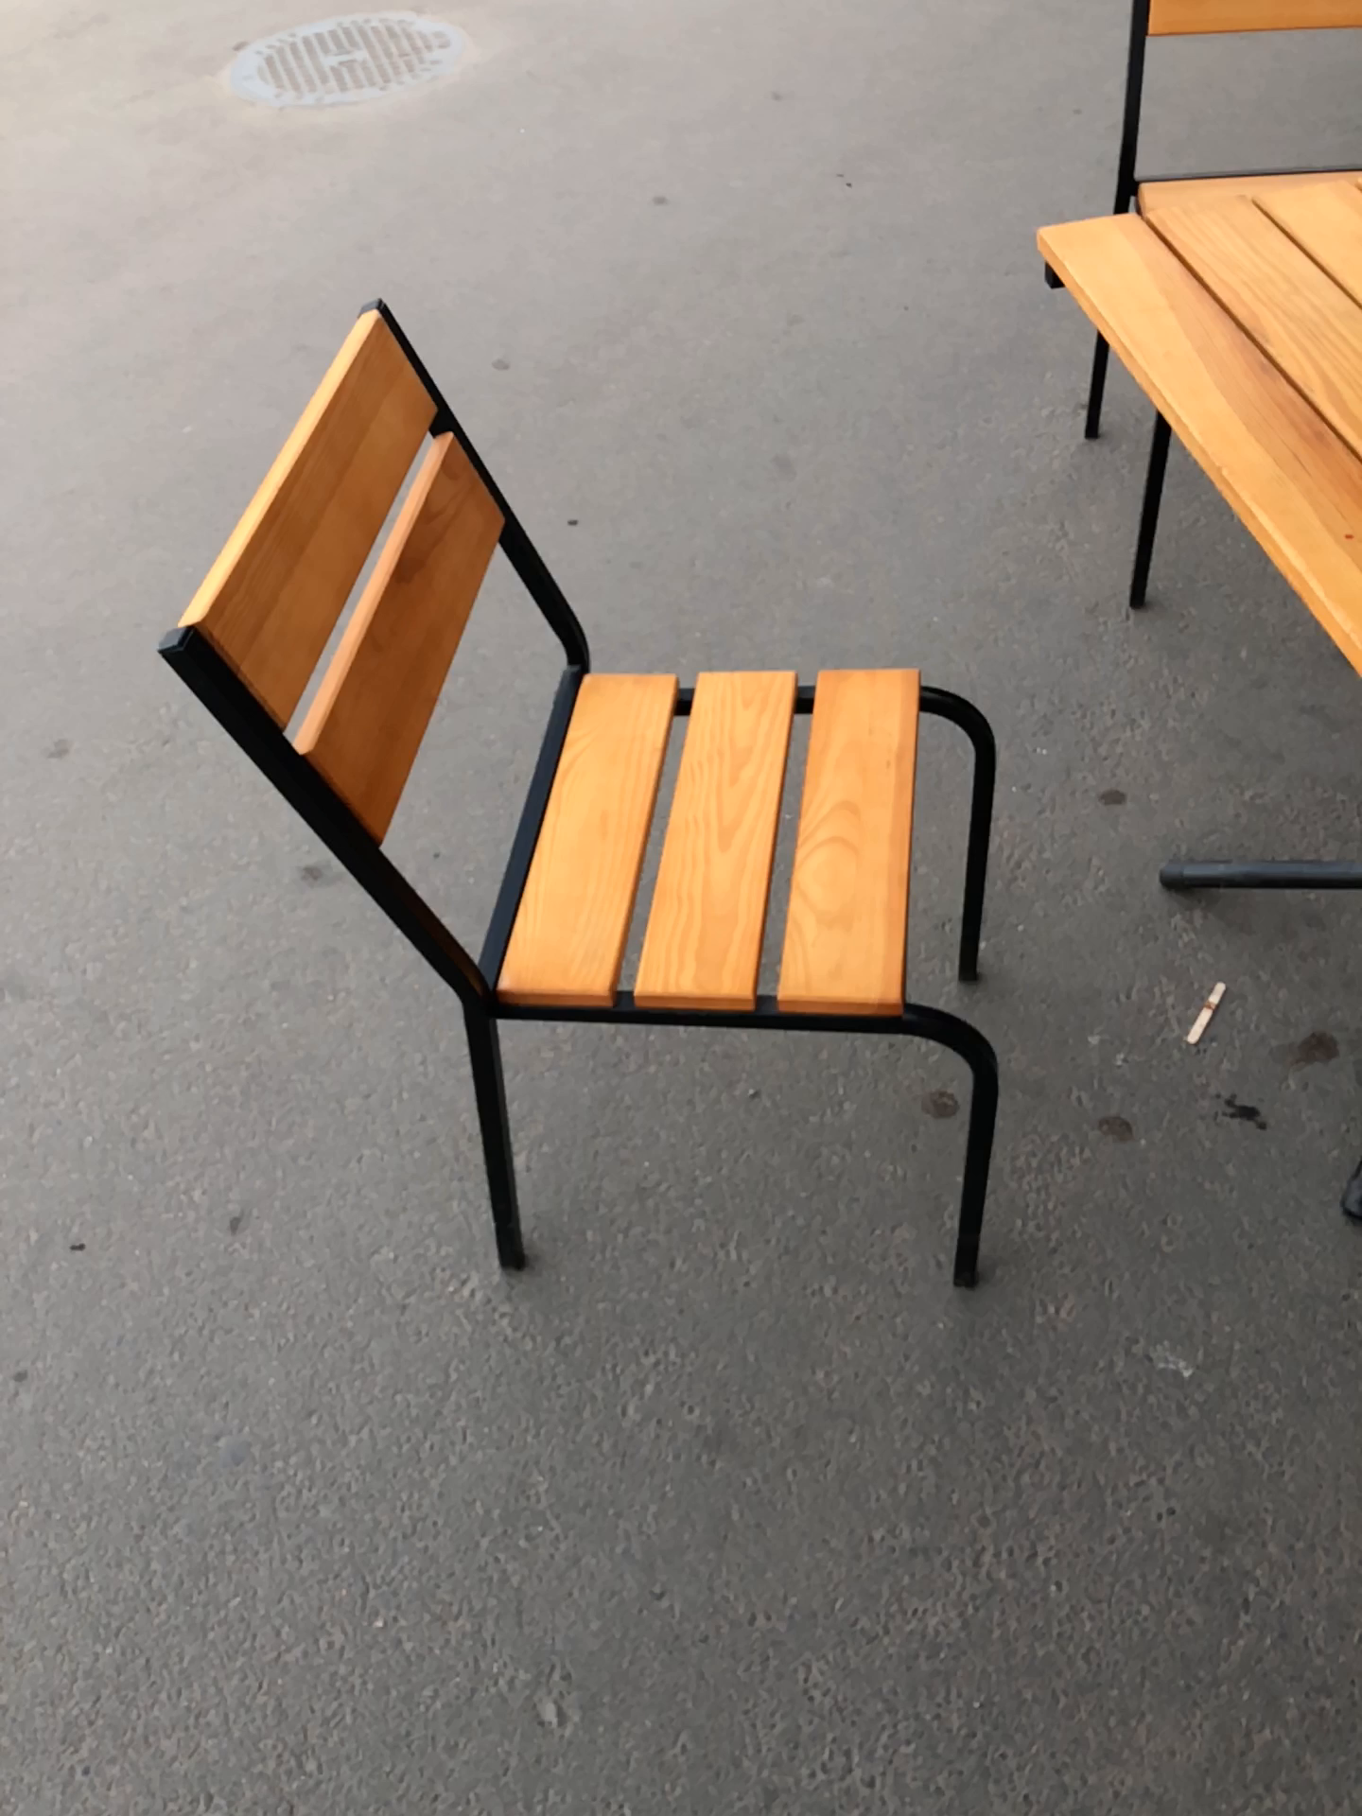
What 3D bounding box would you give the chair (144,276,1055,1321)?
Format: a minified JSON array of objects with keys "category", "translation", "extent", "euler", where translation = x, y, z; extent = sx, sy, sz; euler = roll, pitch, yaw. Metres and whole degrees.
[{"category":"chair","translation":[0.010,-0.068,1.345],"extent":[0.560,0.767,0.502],"euler":[3,48,10]}]
